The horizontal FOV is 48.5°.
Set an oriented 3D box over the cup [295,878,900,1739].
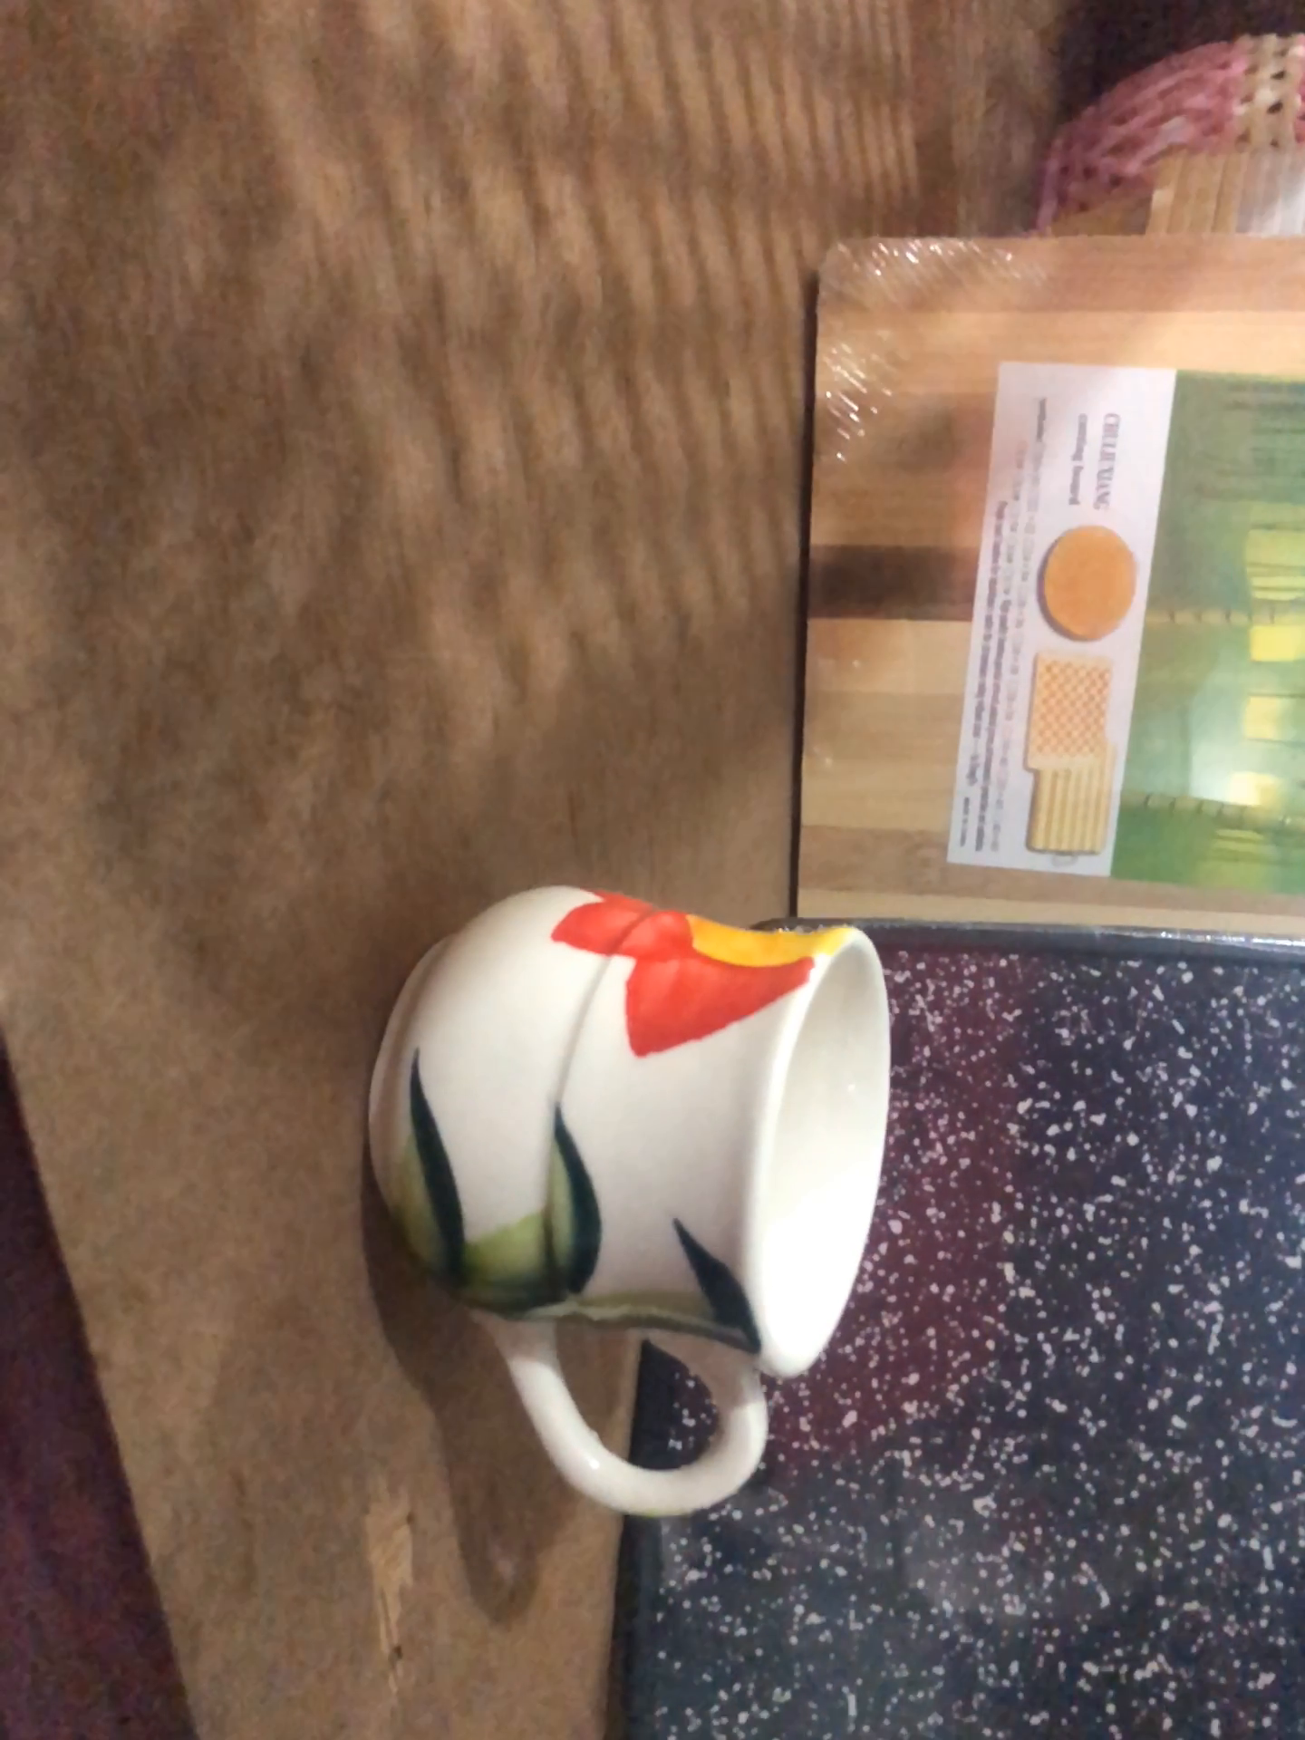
[{"bbox_3d":[-0.003,0.055,0.204,0.060,0.060,0.090,-32,124,-63],"label":"cup"}]
